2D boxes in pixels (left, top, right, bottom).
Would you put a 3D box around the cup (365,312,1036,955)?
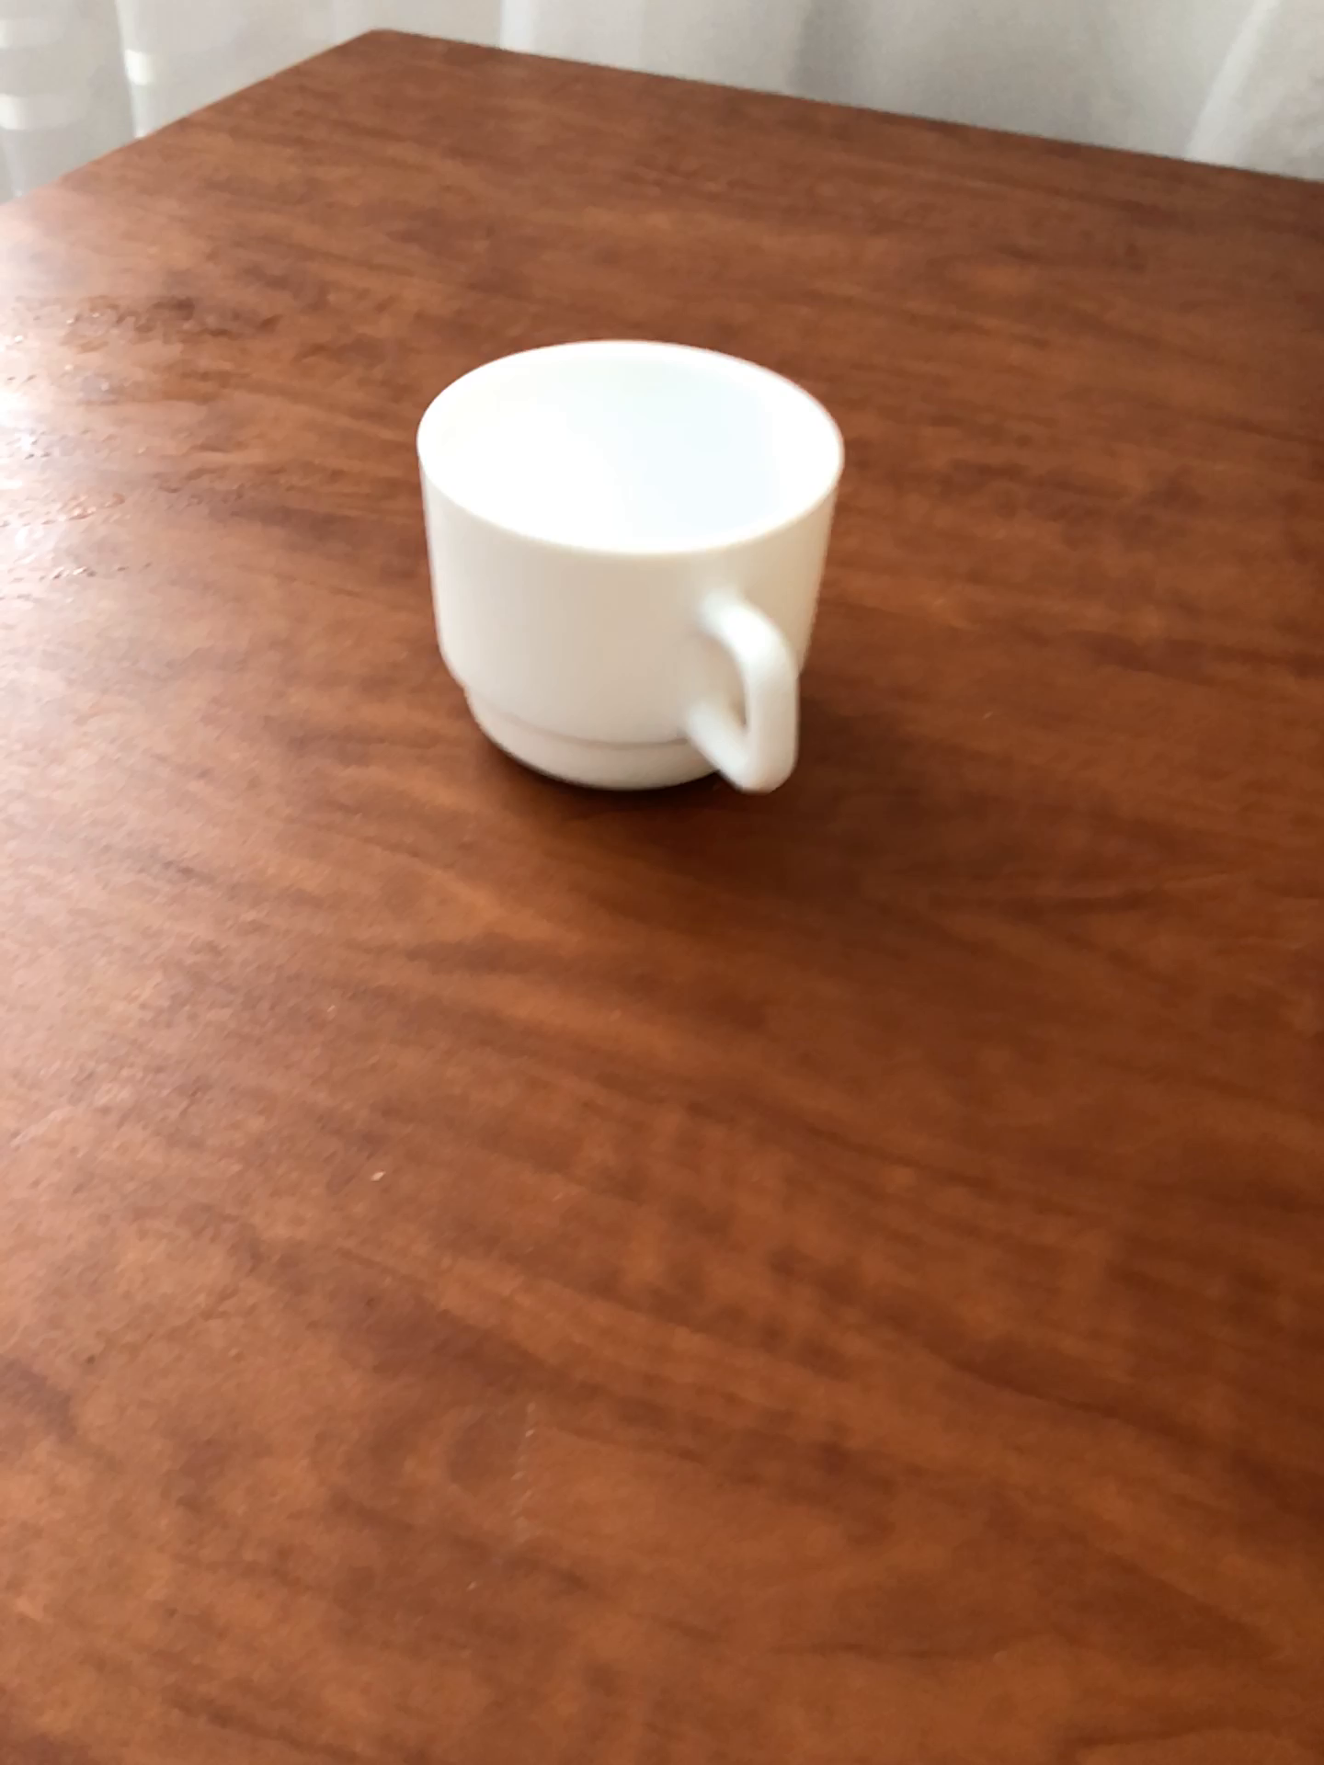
[{"bbox_3d":[0.000,-0.058,0.303,0.087,0.060,0.120,-15,48,-19],"label":"cup"}]
